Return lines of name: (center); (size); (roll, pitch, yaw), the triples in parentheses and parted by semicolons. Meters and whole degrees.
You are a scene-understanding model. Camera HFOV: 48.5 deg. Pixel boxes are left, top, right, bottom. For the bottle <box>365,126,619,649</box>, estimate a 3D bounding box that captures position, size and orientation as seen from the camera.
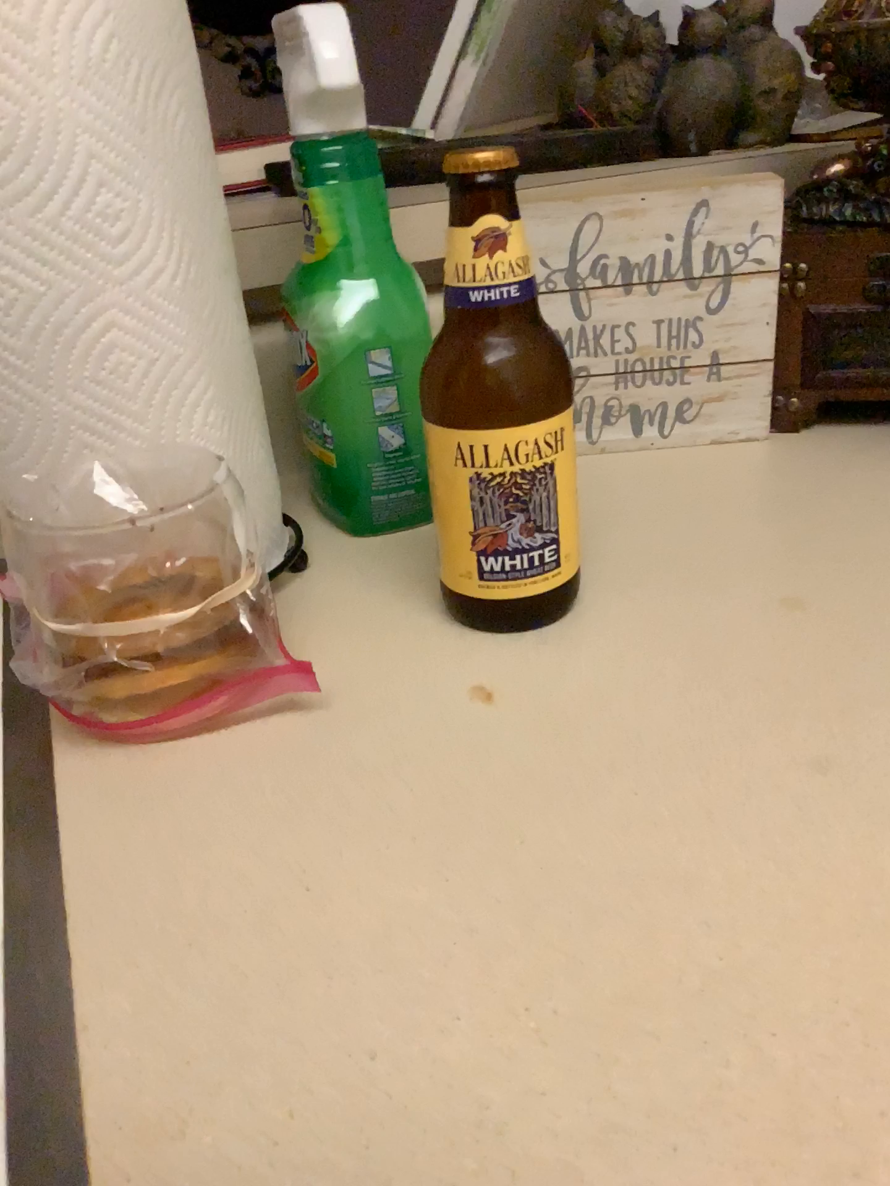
bottle: (0.021, -0.084, 0.409); (0.080, 0.190, 0.080); (-5, 26, 3)
